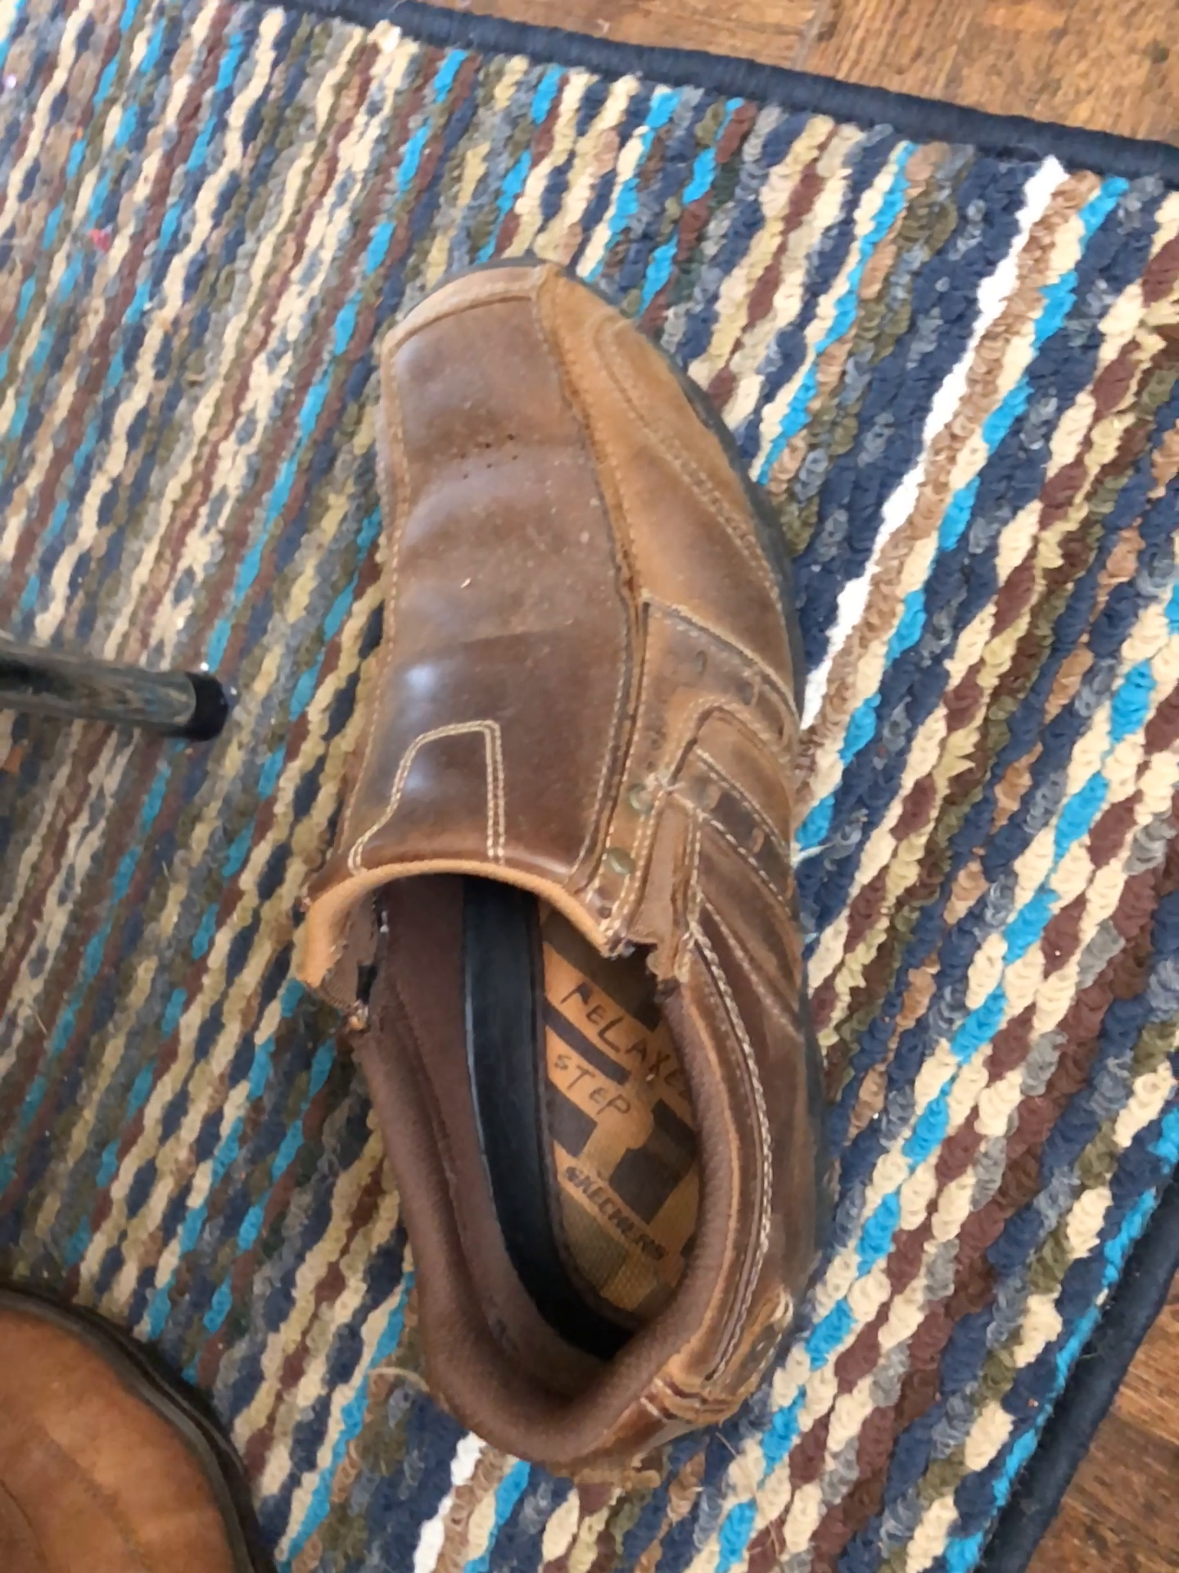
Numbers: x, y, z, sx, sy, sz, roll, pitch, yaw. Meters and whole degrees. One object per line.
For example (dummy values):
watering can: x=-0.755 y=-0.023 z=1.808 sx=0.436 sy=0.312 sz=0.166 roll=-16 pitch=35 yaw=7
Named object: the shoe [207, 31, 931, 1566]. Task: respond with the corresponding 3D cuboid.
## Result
shoe: x=-0.005 y=0.002 z=0.299 sx=0.100 sy=0.100 sz=0.280 roll=-12 pitch=78 yaw=24
